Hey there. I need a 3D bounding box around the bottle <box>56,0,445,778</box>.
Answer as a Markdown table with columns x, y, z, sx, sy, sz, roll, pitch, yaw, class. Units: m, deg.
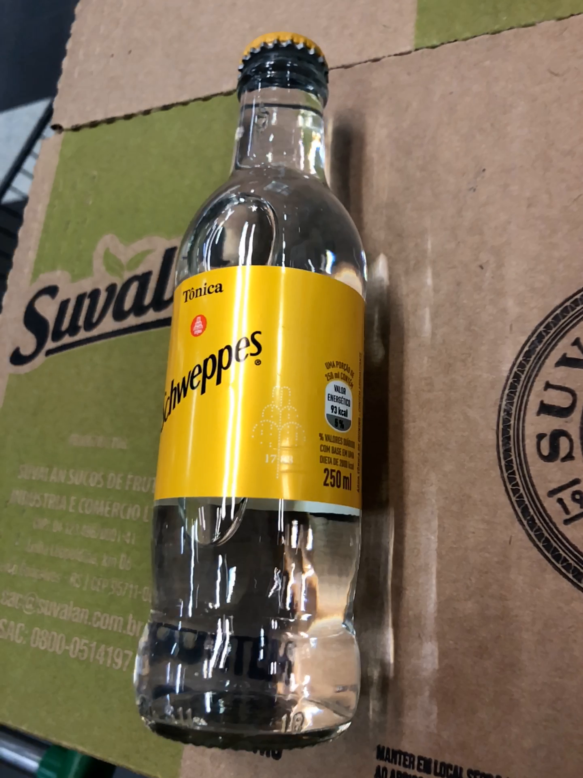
| x | y | z | sx | sy | sz | roll | pitch | yaw | class |
| --- | --- | --- | --- | --- | --- | --- | --- | --- | --- |
| -0.002 | -0.033 | 0.192 | 0.070 | 0.070 | 0.240 | -5 | 73 | 24 | bottle |
